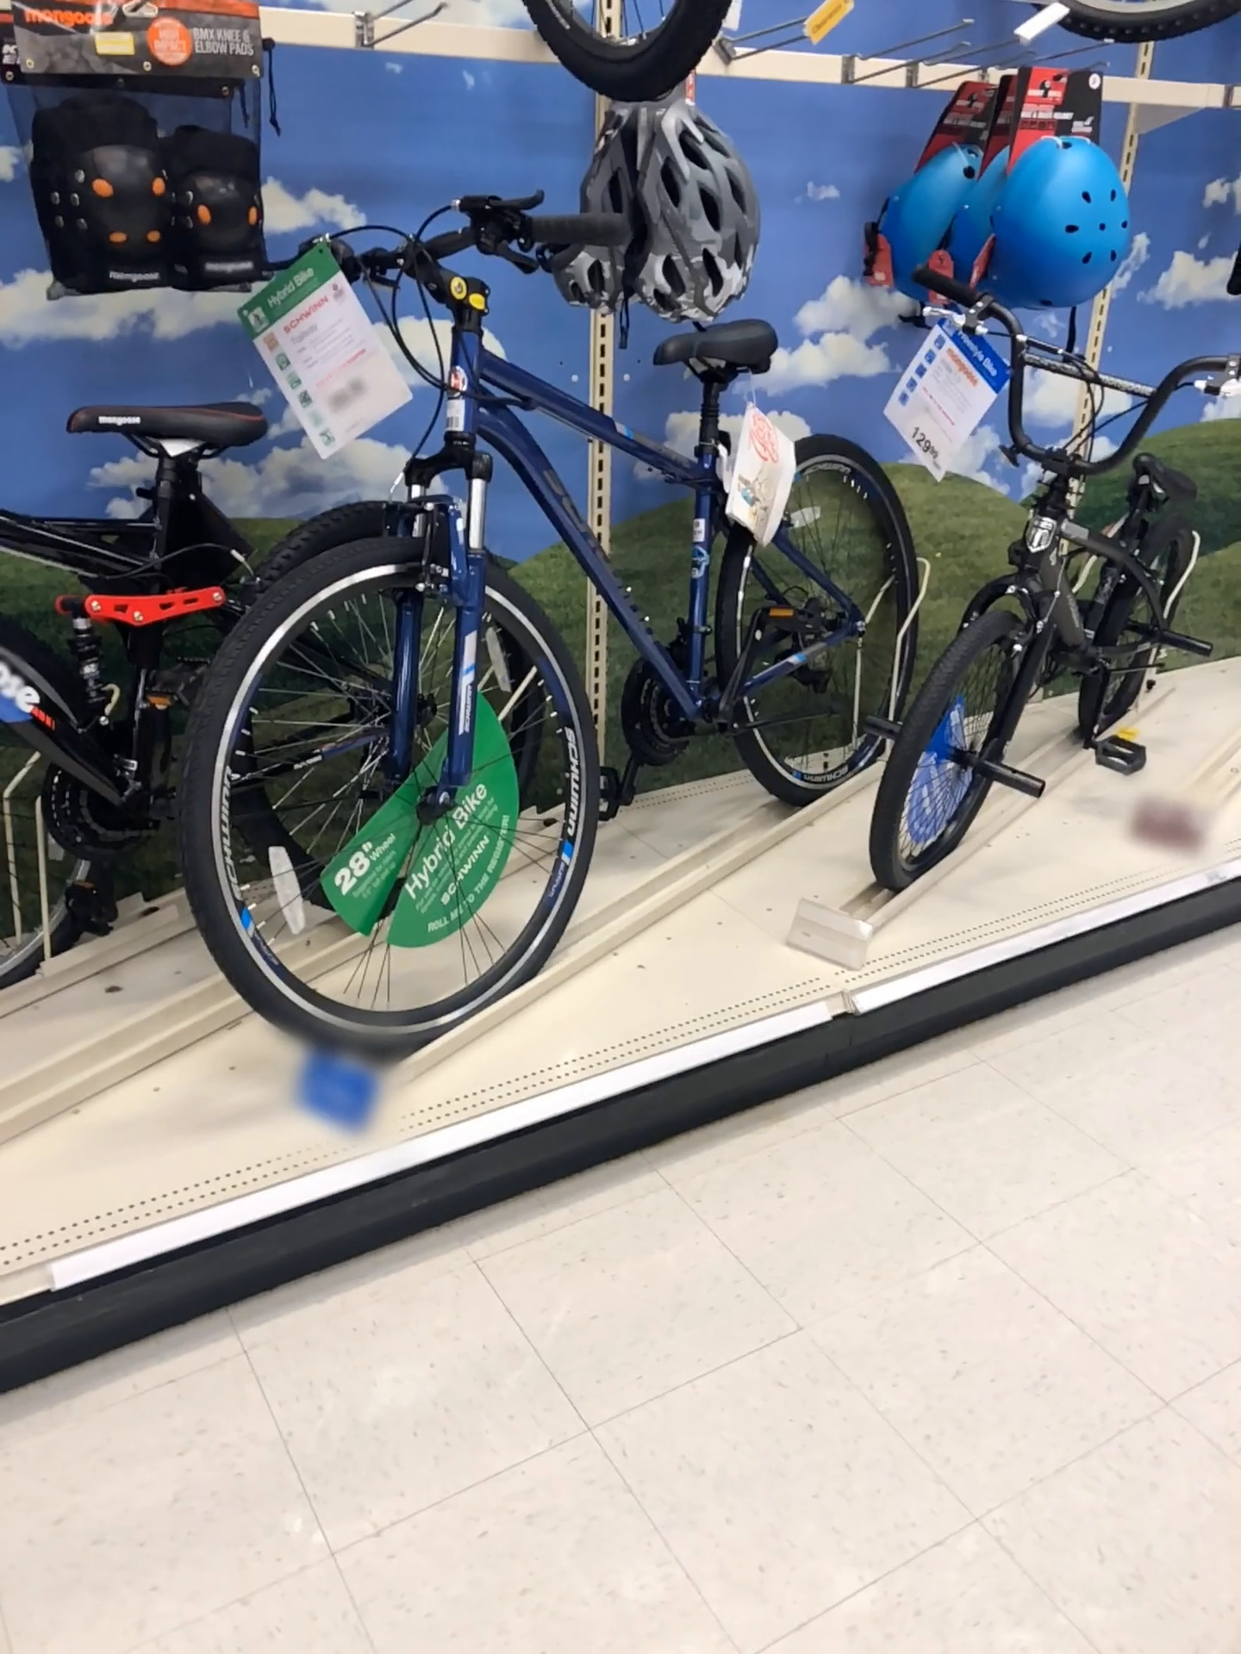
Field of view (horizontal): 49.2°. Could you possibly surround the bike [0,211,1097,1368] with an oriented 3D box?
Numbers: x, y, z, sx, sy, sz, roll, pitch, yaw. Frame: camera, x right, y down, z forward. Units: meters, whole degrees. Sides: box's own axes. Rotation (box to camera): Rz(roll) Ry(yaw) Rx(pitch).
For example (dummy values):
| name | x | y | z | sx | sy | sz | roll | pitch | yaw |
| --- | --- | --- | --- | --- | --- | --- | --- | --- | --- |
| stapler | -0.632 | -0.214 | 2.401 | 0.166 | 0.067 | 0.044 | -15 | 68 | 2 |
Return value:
| name | x | y | z | sx | sy | sz | roll | pitch | yaw |
| --- | --- | --- | --- | --- | --- | --- | --- | --- | --- |
| bike | 0.071 | -0.286 | 2.077 | 0.531 | 1.098 | 1.743 | 19 | 33 | 33 |
